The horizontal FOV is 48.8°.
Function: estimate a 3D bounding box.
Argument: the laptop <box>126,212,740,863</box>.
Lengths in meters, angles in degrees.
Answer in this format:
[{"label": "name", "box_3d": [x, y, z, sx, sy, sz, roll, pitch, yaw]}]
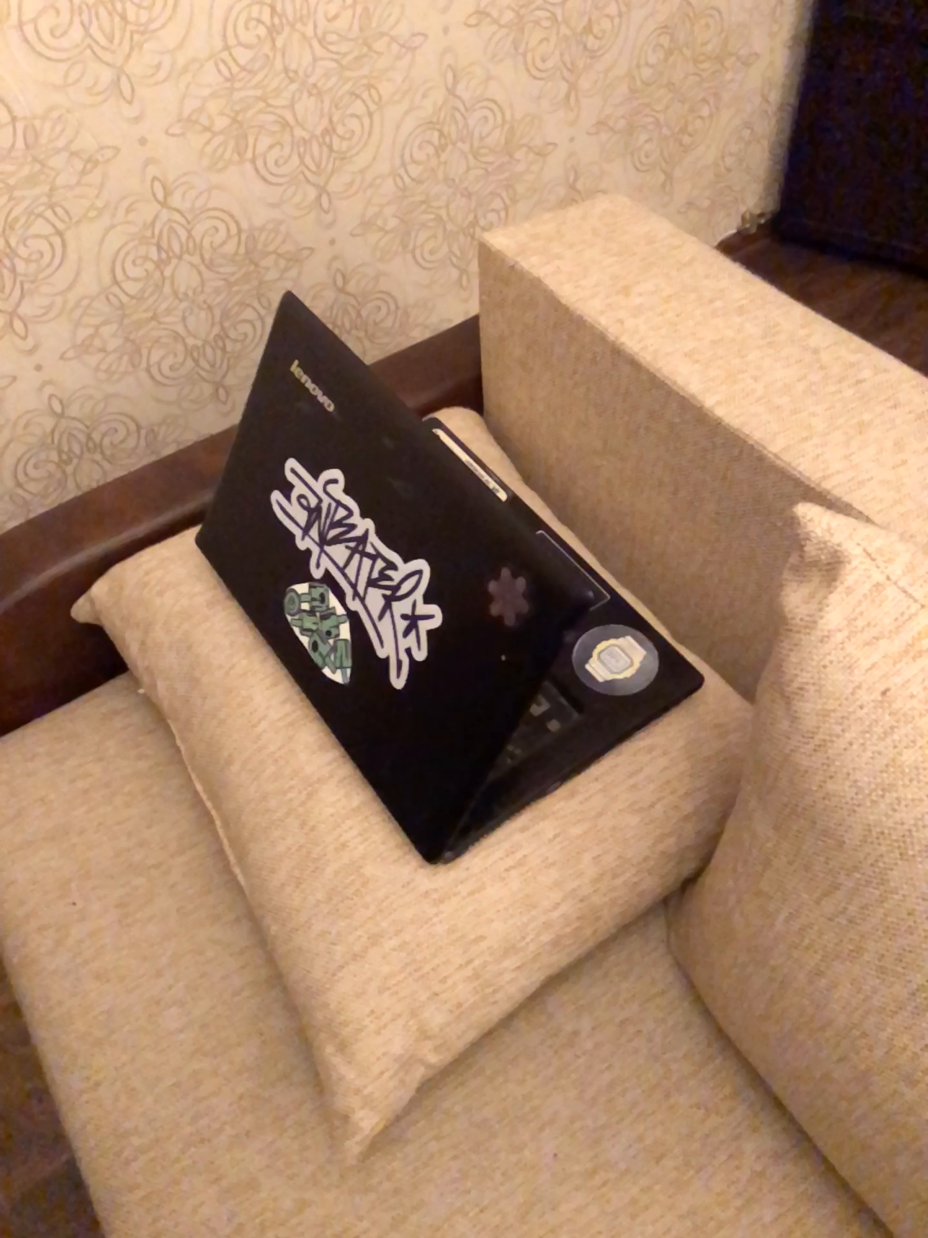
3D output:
[{"label": "laptop", "box_3d": [-0.037, -0.085, 0.836, 0.267, 0.223, 0.414, -31, 56, -17]}]
